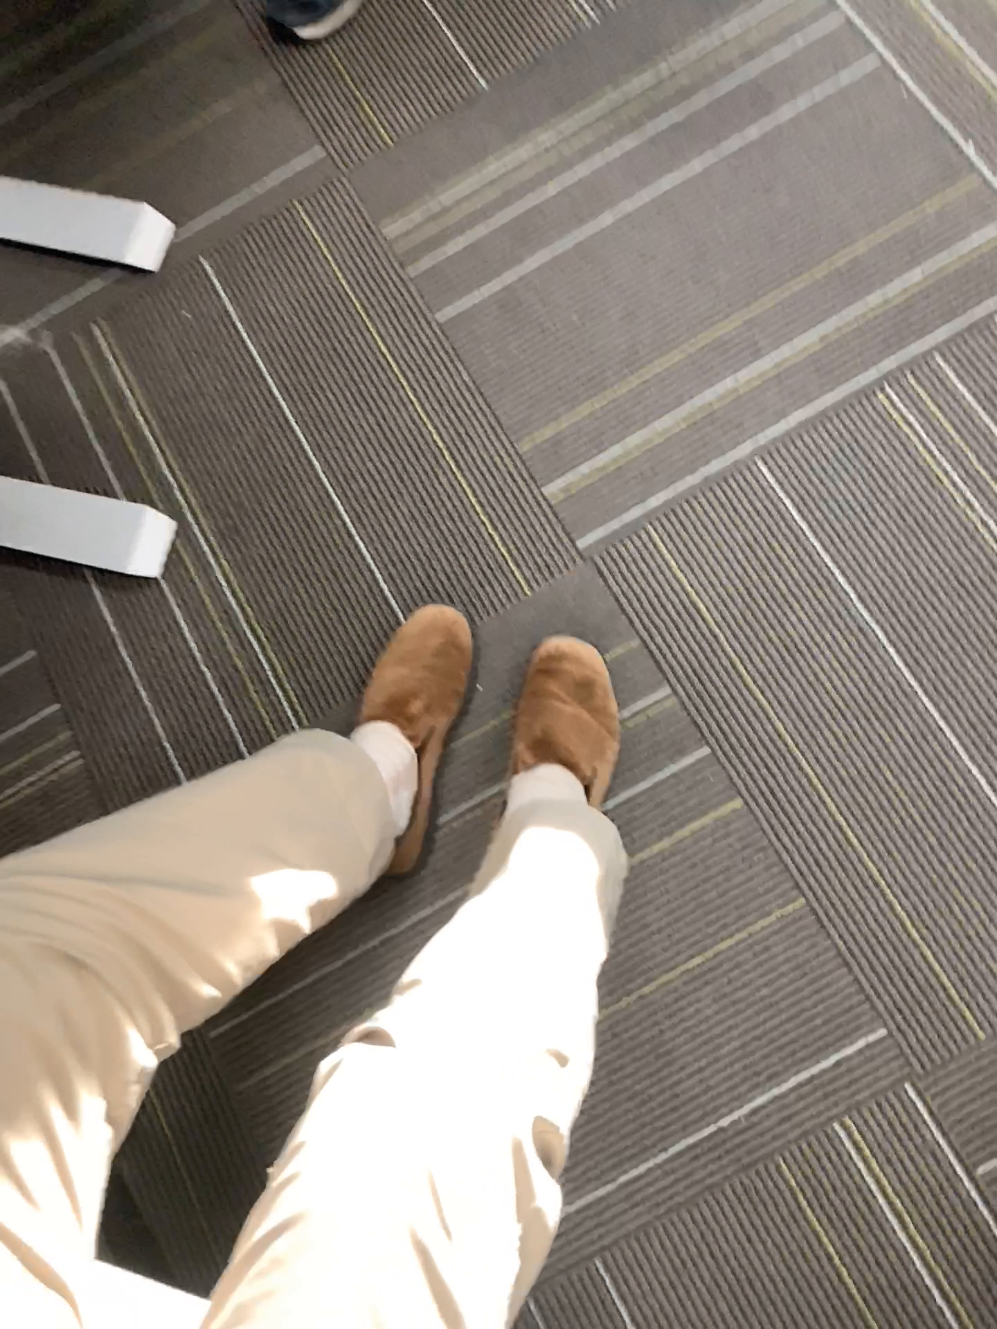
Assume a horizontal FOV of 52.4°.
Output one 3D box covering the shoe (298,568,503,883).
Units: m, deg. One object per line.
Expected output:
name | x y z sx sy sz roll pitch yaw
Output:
shoe | -0.100 0.065 1.081 0.119 0.077 0.307 14 81 13

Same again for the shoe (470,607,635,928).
shoe | 0.060 0.104 1.049 0.120 0.077 0.307 7 79 11
